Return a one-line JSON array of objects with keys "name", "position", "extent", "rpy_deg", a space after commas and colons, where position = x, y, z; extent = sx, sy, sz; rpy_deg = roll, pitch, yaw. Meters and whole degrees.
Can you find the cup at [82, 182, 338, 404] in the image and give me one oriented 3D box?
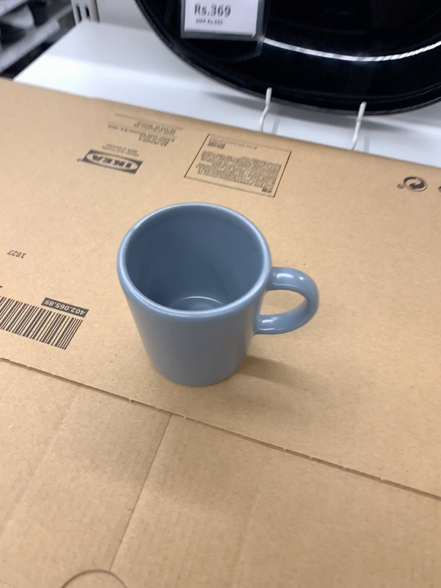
[{"name": "cup", "position": [-0.003, 0.000, 0.185], "extent": [0.080, 0.060, 0.060], "rpy_deg": [4, 51, 1]}]
